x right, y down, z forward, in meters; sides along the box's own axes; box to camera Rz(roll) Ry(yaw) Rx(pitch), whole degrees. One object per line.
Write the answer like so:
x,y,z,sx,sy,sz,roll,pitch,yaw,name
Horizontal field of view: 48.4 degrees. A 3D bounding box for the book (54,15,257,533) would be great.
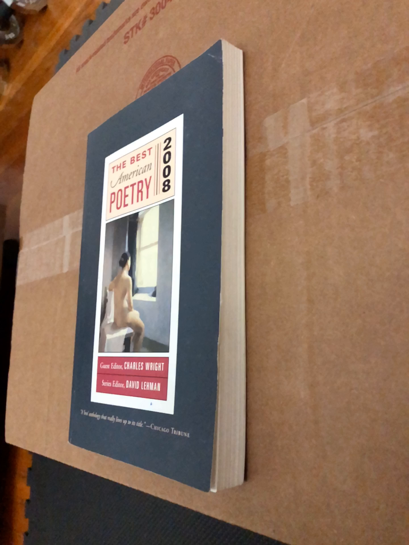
-0.035,-0.001,0.259,0.151,0.020,0.230,-13,72,47,book
